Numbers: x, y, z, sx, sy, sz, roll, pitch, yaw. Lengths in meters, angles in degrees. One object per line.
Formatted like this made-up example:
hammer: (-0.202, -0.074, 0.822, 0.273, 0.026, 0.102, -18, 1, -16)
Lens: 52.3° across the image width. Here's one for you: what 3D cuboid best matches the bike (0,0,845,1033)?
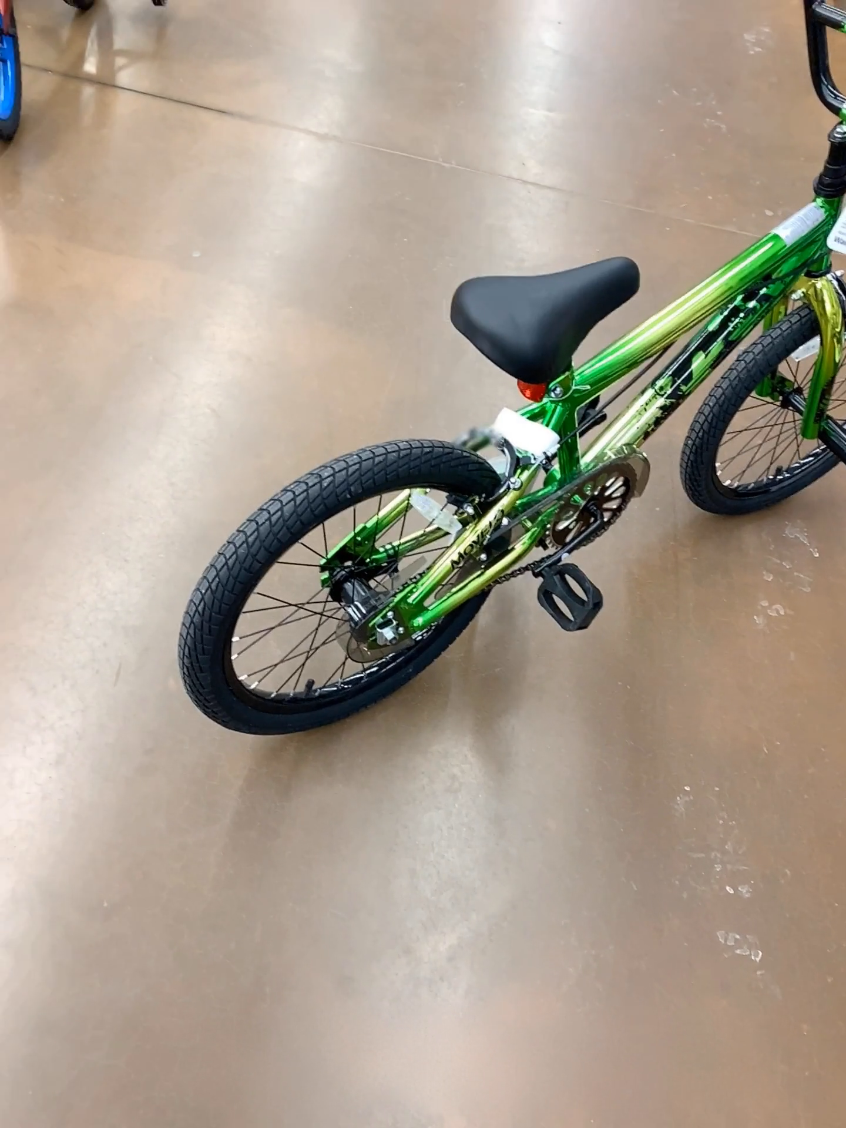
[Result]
bike: (0.441, -0.221, 1.083, 1.408, 1.035, 0.718, -24, 59, -20)
